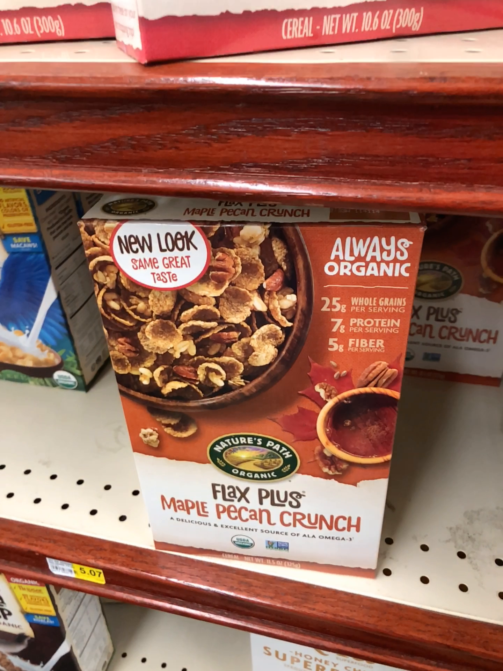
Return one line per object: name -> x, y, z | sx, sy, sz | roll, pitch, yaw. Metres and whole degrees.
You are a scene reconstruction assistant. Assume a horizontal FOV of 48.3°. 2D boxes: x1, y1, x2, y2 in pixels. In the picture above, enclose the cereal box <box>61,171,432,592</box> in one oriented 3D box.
cereal box -> 0.005, 0.041, 0.335 | 0.160, 0.259, 0.060 | 4, 36, 10
